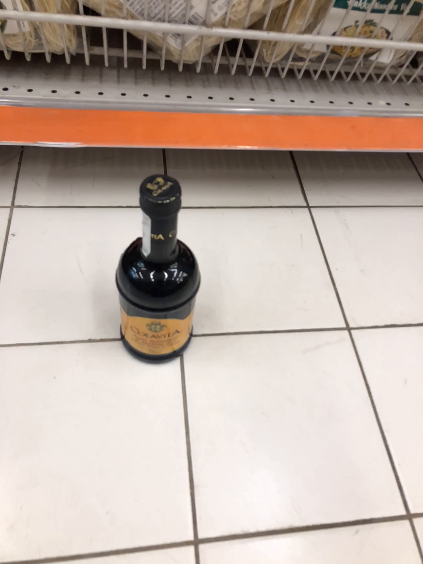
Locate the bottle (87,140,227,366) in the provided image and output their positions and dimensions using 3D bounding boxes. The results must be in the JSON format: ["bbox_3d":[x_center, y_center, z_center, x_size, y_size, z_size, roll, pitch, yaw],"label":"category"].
[{"bbox_3d":[-0.050,-0.012,0.408,0.090,0.199,0.090,4,54,-6],"label":"bottle"}]
